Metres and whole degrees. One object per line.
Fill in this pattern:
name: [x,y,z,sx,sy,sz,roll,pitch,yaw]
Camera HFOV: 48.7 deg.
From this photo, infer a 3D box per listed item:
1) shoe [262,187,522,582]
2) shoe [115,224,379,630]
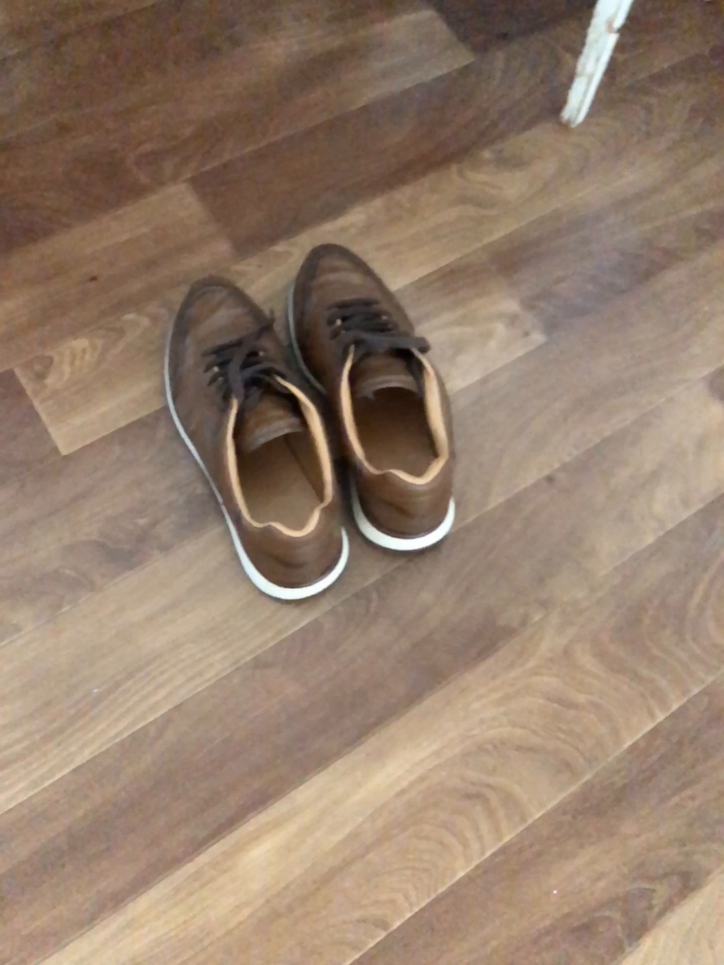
shoe: [0.012,-0.080,0.623,0.110,0.090,0.281,-14,71,-11]
shoe: [-0.091,-0.045,0.607,0.100,0.090,0.281,-19,72,-13]
